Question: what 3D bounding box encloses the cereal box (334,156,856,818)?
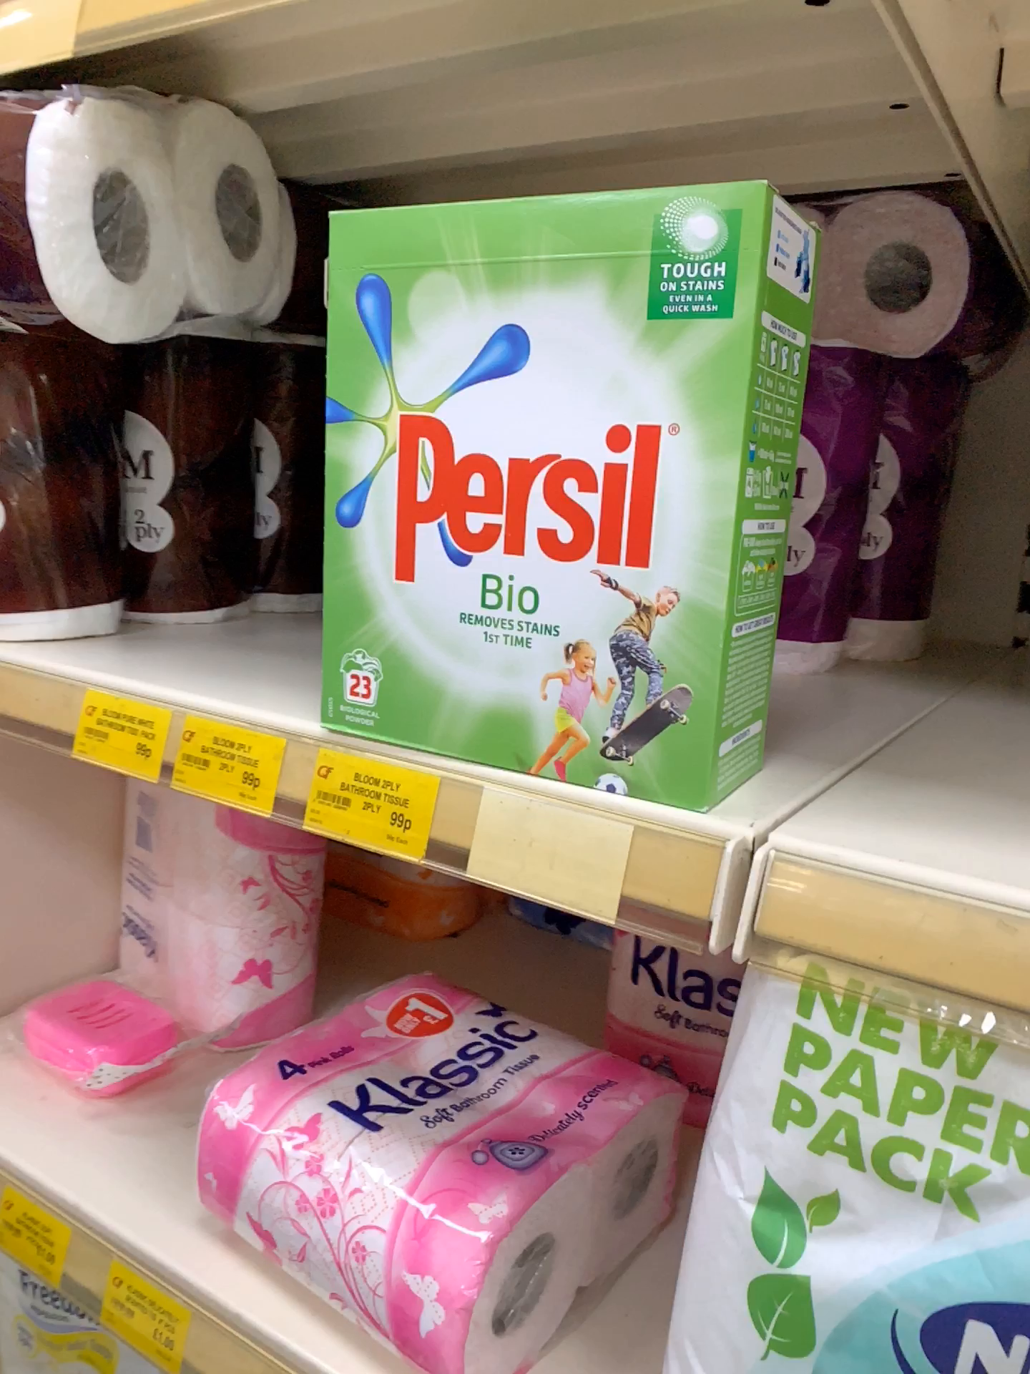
[{"bbox_3d":[0.028,-0.088,0.476,0.200,0.239,0.090,9,12,29],"label":"cereal box"}]
